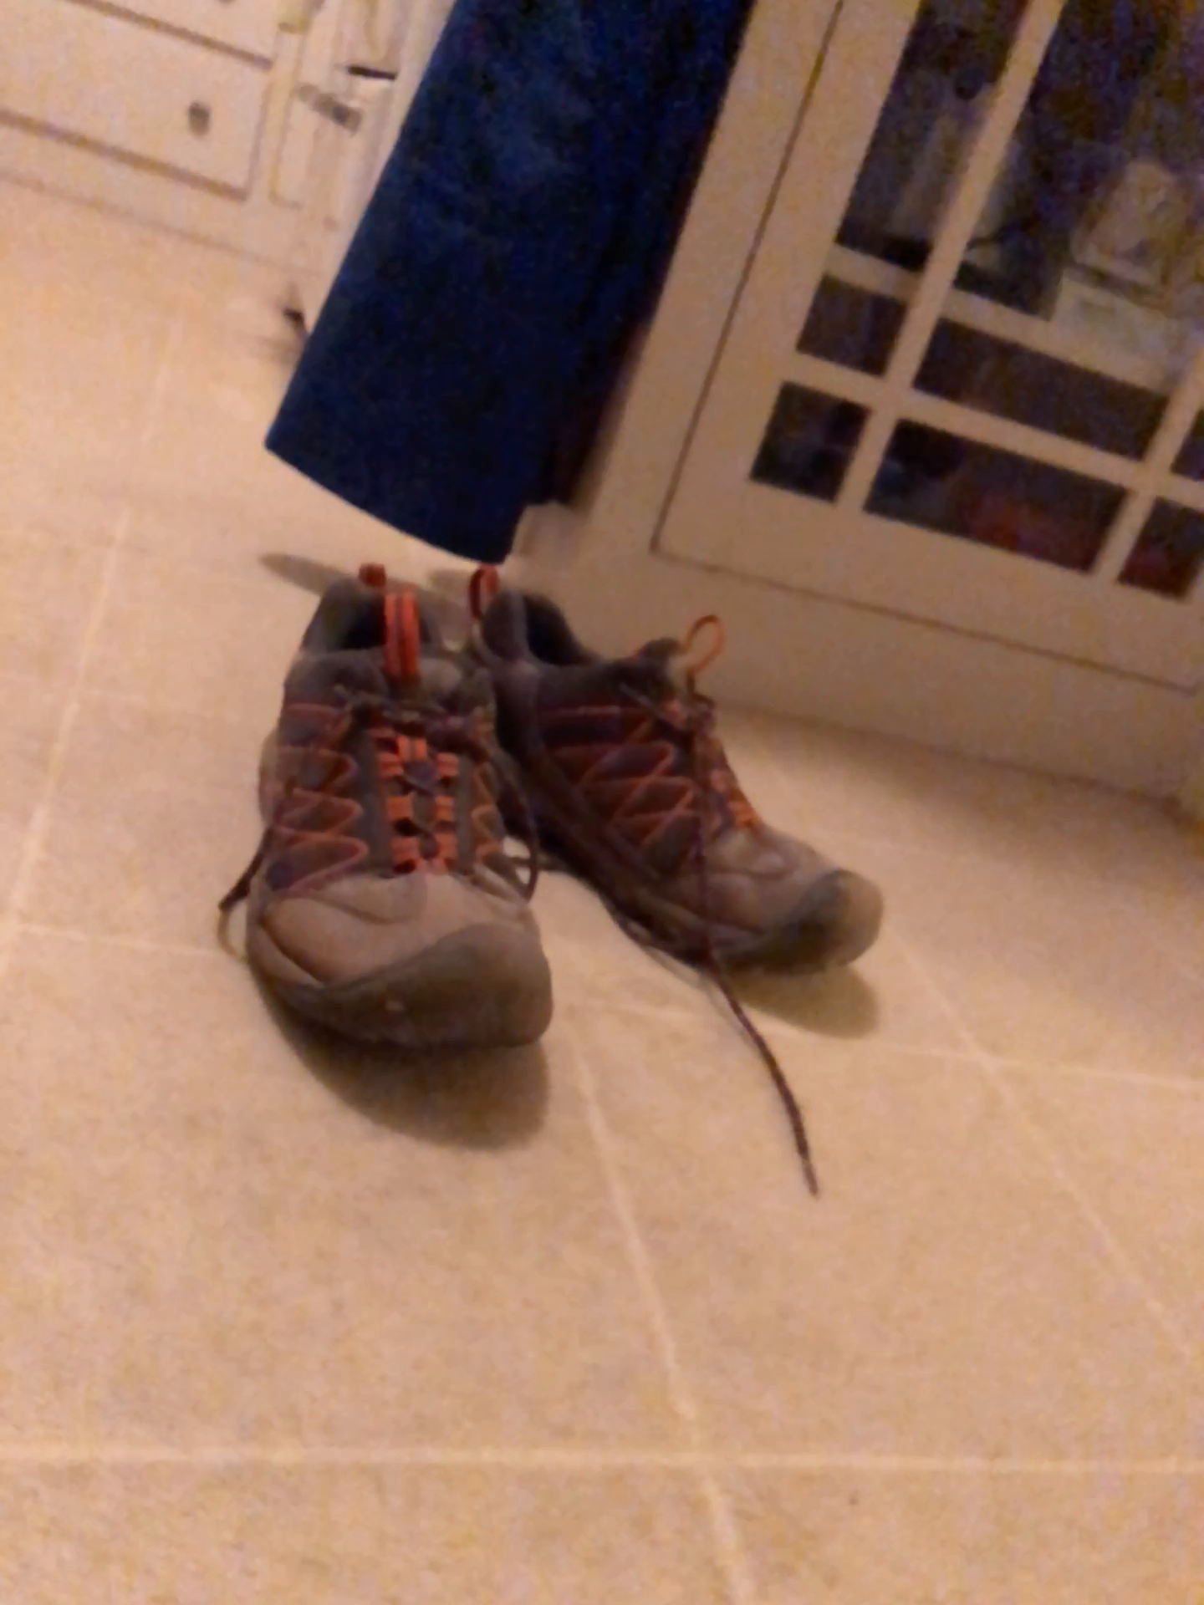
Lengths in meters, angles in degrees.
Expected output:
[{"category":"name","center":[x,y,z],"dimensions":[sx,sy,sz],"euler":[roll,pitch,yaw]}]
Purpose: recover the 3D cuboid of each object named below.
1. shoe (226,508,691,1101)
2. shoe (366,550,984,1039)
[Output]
[{"category":"shoe","center":[-0.085,-0.015,0.603],"dimensions":[0.127,0.121,0.293],"euler":[10,26,-23]},{"category":"shoe","center":[0.033,-0.020,0.719],"dimensions":[0.282,0.121,0.128],"euler":[31,25,23]}]
